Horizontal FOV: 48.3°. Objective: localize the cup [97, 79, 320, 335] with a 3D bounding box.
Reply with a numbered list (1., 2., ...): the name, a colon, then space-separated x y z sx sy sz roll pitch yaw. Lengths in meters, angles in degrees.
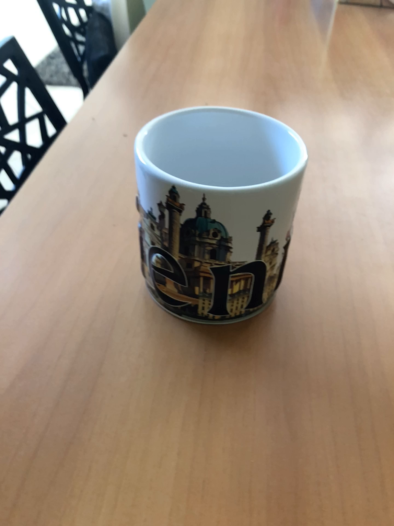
1. cup: 0.010 -0.046 0.305 0.110 0.099 0.151 4 43 2
